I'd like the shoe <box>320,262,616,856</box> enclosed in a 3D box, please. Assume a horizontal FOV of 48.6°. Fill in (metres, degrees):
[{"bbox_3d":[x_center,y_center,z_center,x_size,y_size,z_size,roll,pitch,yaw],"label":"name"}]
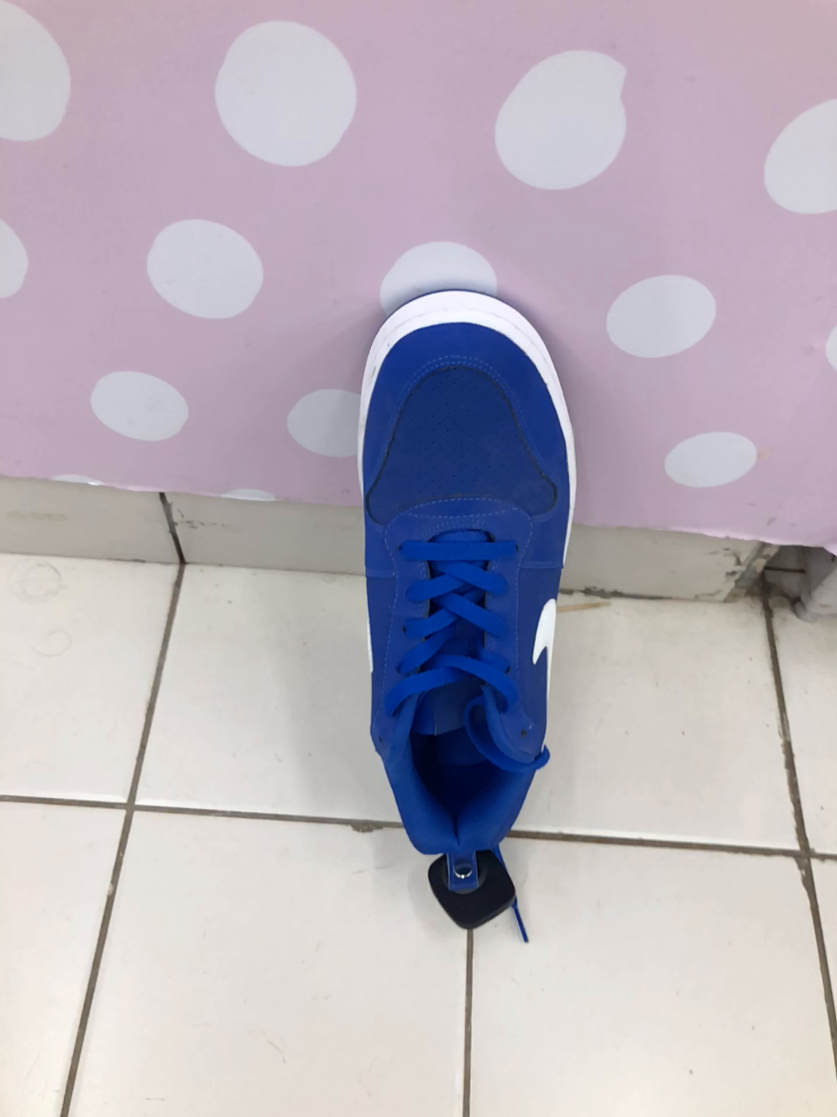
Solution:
[{"bbox_3d":[0.021,0.012,0.453,0.110,0.289,0.080,0,31,1],"label":"shoe"}]
